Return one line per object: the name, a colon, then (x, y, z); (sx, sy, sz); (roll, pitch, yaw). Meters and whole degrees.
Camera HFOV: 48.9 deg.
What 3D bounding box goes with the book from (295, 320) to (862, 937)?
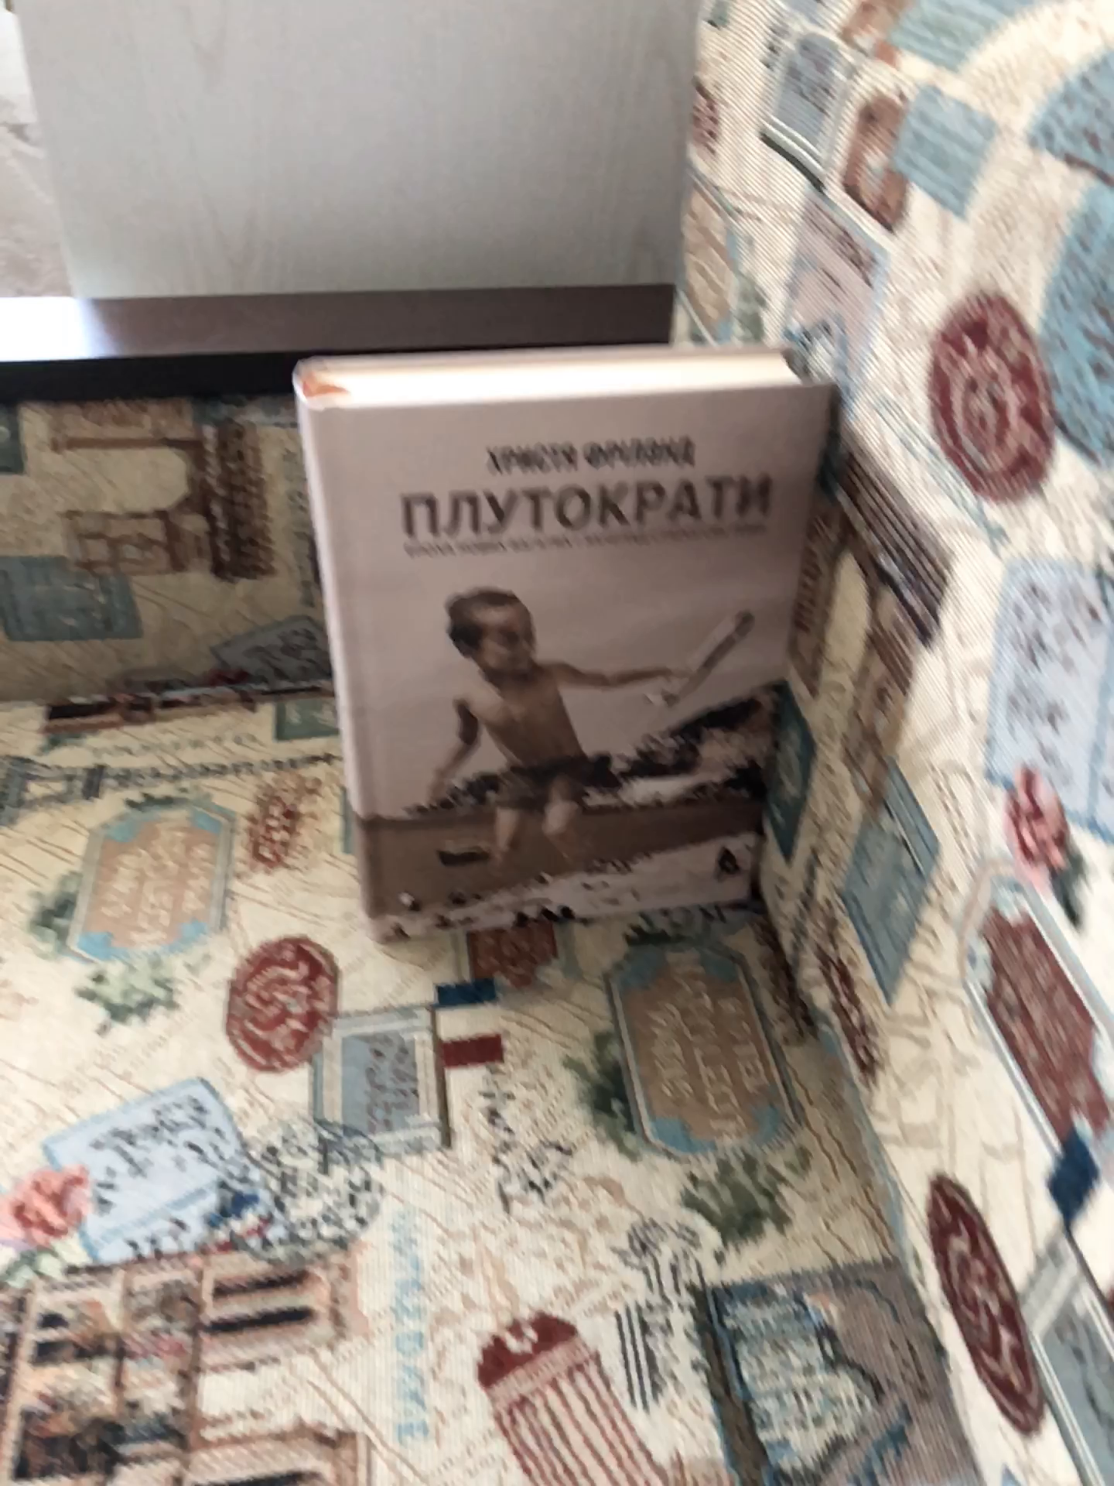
book: (0.003, -0.028, 0.417); (0.157, 0.215, 0.037); (-5, 40, -8)
